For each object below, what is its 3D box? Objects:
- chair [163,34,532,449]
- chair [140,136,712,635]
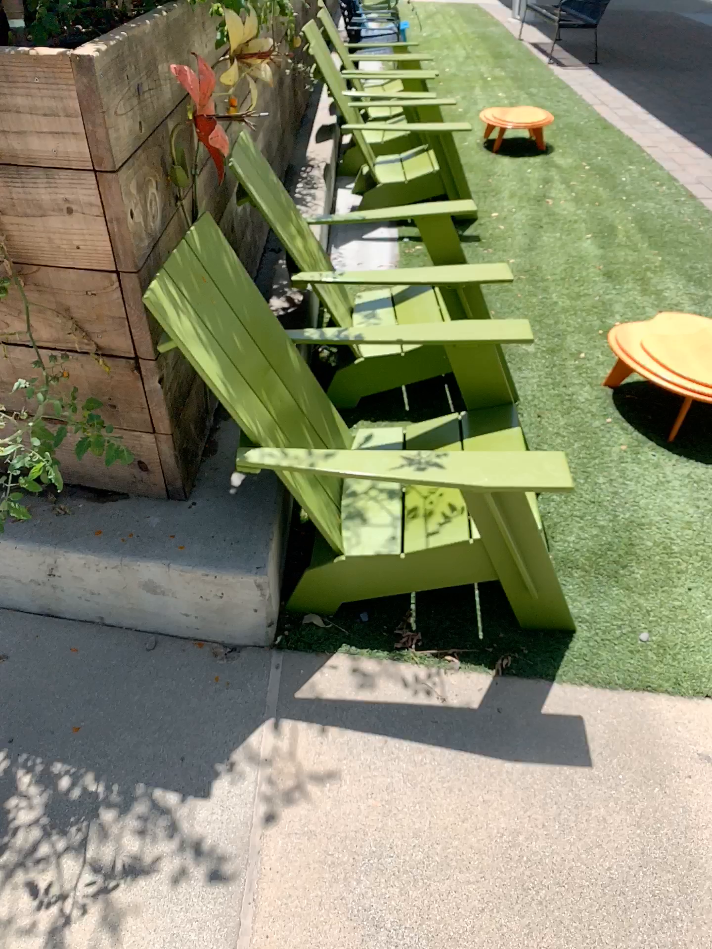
[{"bbox_3d":[0.048,-0.748,2.480,0.890,0.984,0.684,-9,39,13],"label":"chair"},{"bbox_3d":[0.160,-0.192,1.657,0.900,0.835,0.684,-3,37,6],"label":"chair"}]
